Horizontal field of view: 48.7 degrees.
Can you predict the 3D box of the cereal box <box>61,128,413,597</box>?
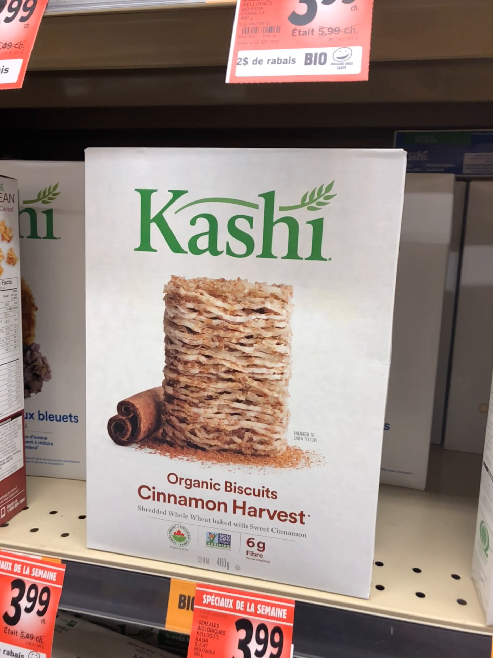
[{"bbox_3d":[-0.007,0.015,0.359,0.200,0.269,0.070,4,12,14],"label":"cereal box"}]
